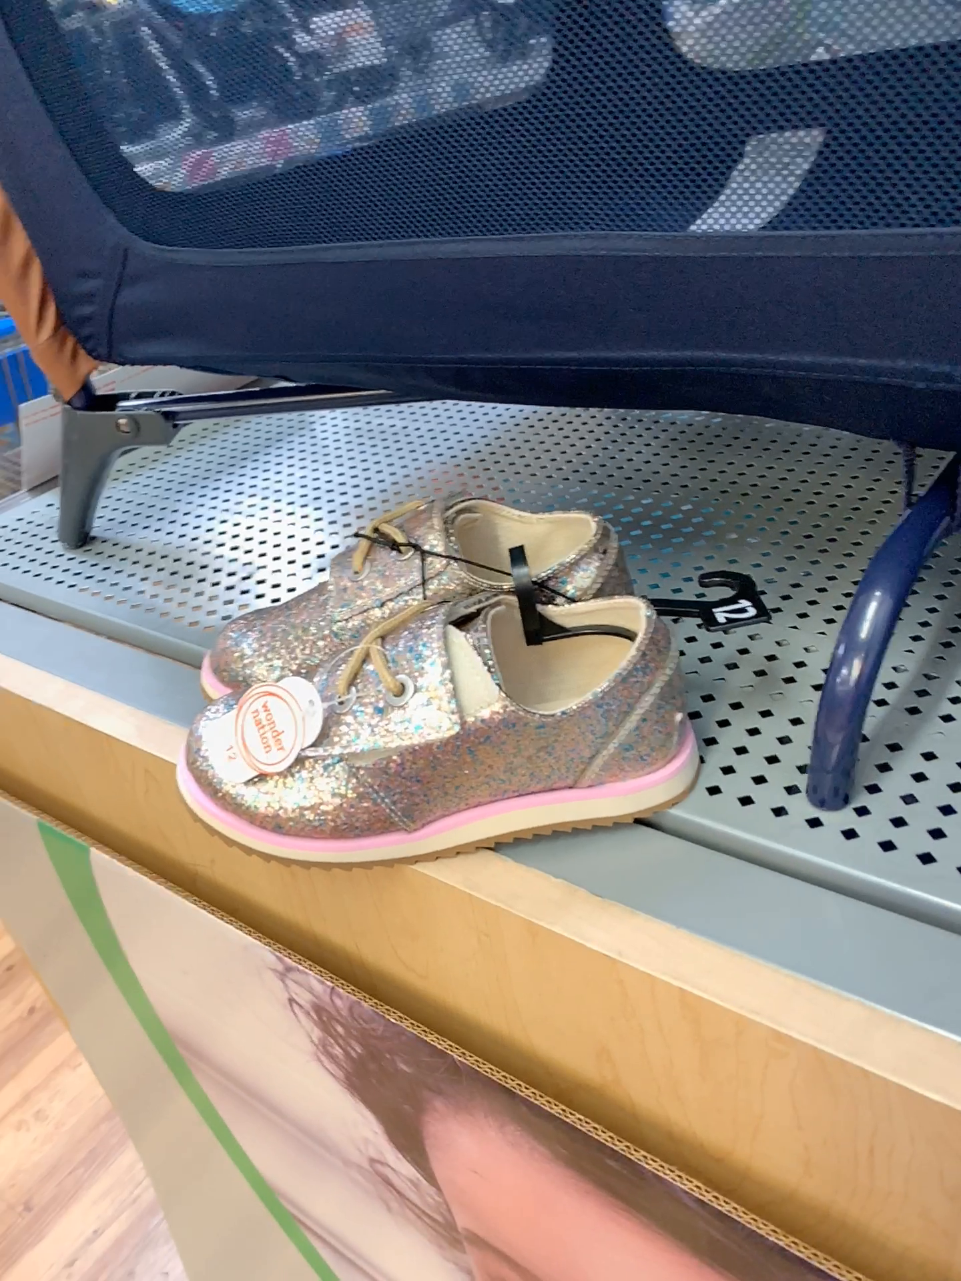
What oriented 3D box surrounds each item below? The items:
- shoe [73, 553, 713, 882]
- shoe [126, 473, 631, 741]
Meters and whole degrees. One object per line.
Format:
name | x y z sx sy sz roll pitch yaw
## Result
shoe | -0.026 0.027 0.364 0.205 0.060 0.086 -6 33 7
shoe | -0.037 -0.014 0.438 0.199 0.070 0.084 -4 33 11
